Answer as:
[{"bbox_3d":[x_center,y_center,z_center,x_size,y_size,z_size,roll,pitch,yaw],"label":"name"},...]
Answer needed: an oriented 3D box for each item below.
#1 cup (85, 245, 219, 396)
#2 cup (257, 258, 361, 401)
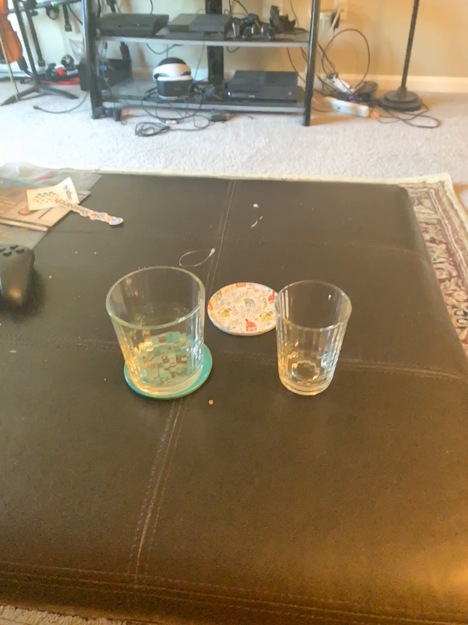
[{"bbox_3d":[-0.071,0.005,0.448,0.080,0.089,0.080,-1,40,1],"label":"cup"},{"bbox_3d":[0.065,0.015,0.432,0.060,0.089,0.070,23,46,26],"label":"cup"}]
